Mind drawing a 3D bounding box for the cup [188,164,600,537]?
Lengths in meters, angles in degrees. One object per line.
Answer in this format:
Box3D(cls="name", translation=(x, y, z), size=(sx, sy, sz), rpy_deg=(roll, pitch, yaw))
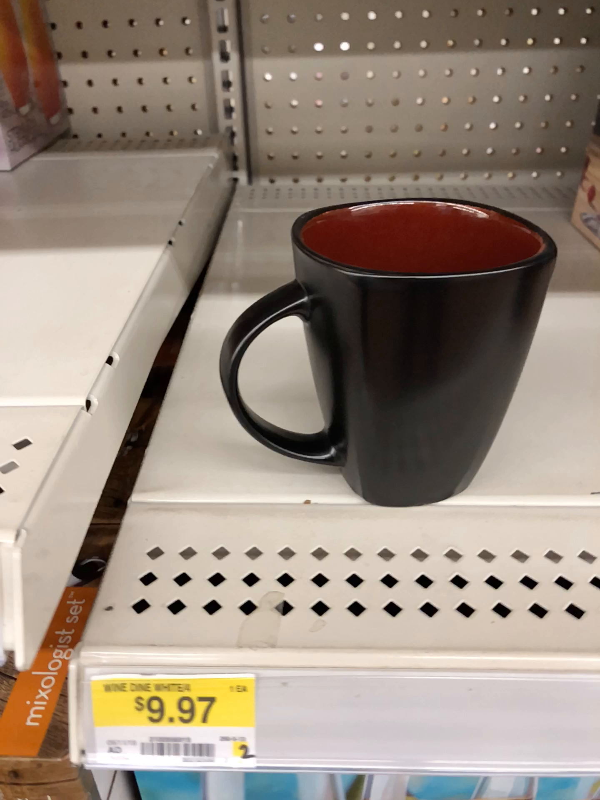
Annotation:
Box3D(cls="cup", translation=(0.030, -0.025, 0.262), size=(0.130, 0.100, 0.090), rpy_deg=(-8, 33, -9))
